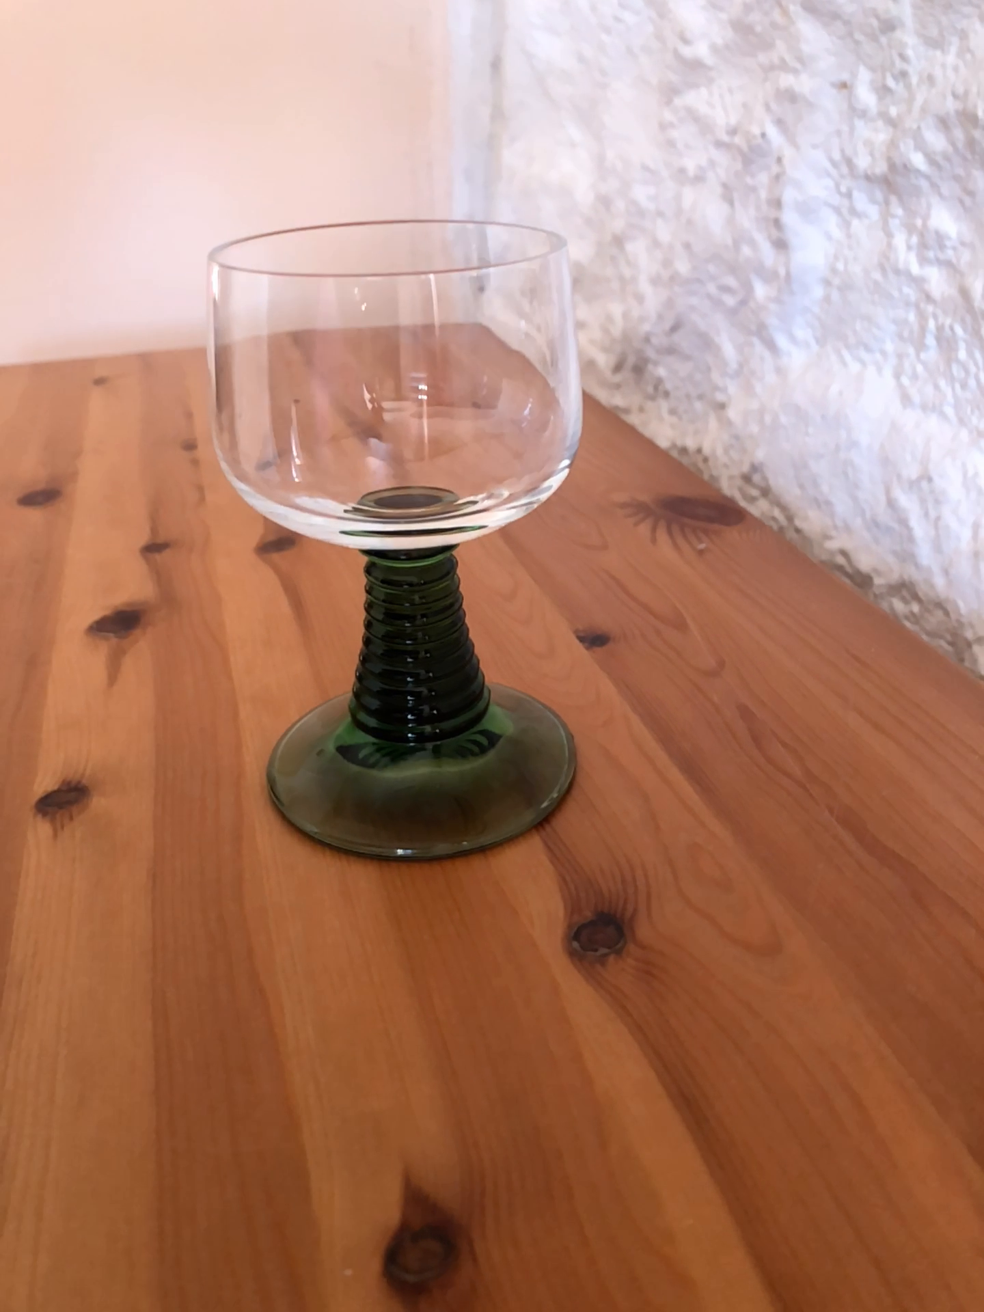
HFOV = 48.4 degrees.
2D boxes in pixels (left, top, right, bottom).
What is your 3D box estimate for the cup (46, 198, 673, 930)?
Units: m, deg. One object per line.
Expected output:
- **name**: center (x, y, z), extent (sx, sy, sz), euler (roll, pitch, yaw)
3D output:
- **cup**: center (-0.017, -0.024, 0.206), extent (0.074, 0.106, 0.074), euler (-1, 28, 1)
